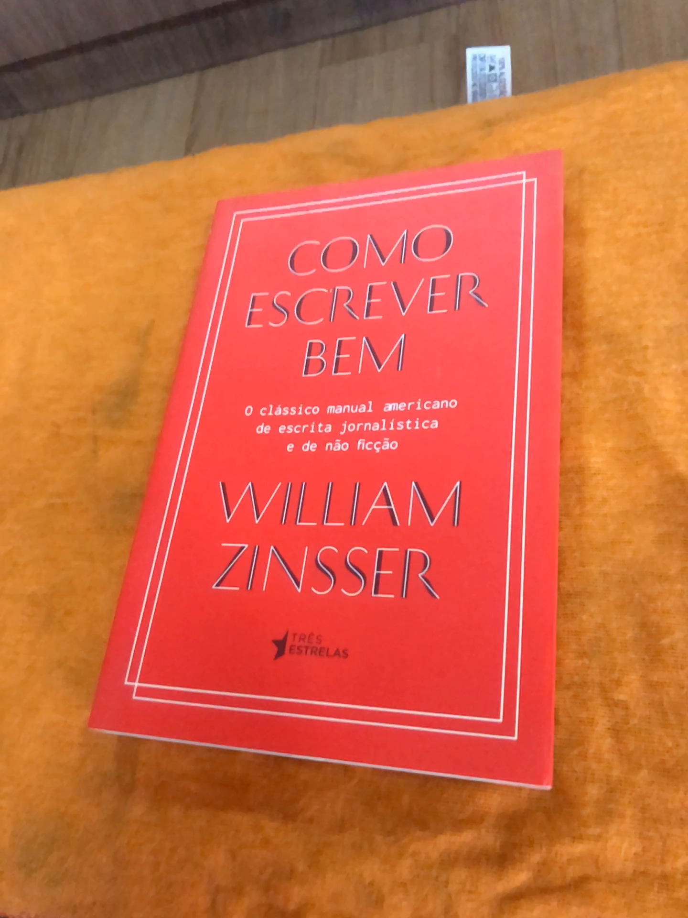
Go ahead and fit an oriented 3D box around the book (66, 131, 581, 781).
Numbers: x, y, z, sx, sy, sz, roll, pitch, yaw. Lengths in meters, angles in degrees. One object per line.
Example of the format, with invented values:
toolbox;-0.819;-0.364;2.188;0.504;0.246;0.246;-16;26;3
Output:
book;0.001;-0.013;0.245;0.140;0.020;0.196;-1;65;21
